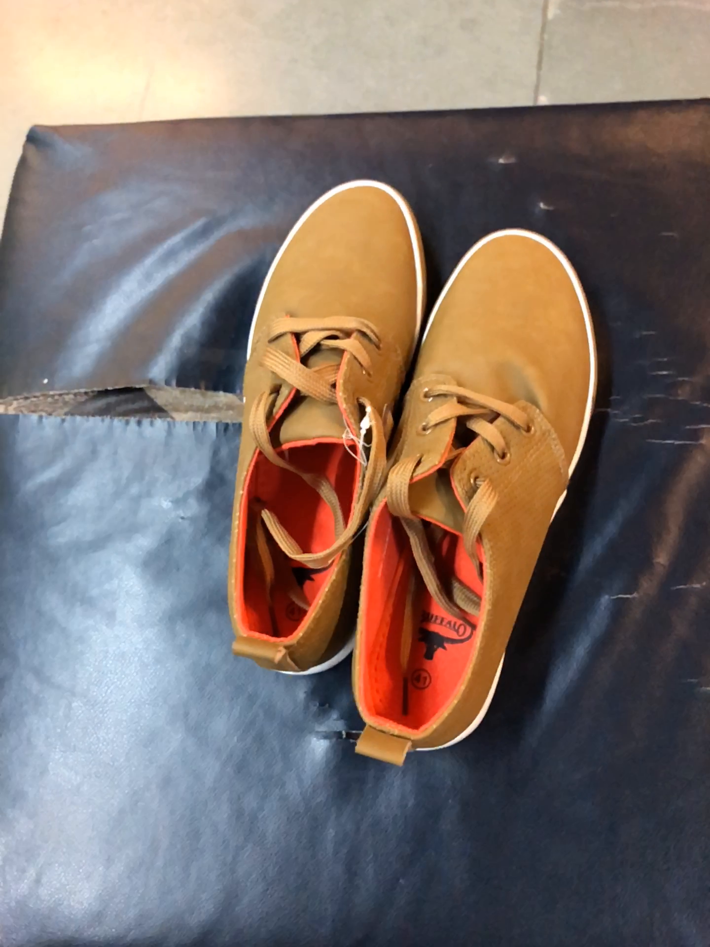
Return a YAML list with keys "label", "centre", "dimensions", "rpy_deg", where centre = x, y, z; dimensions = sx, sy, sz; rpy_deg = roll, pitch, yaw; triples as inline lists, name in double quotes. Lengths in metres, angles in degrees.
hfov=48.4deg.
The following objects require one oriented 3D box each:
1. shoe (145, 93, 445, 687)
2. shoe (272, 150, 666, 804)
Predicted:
- label: "shoe"
  centre: [-0.015, -0.039, 0.385]
  dimensions: [0.100, 0.097, 0.266]
  rpy_deg: [3, 73, 9]
- label: "shoe"
  centre: [0.058, -0.003, 0.363]
  dimensions: [0.095, 0.091, 0.261]
  rpy_deg: [15, 75, 12]
